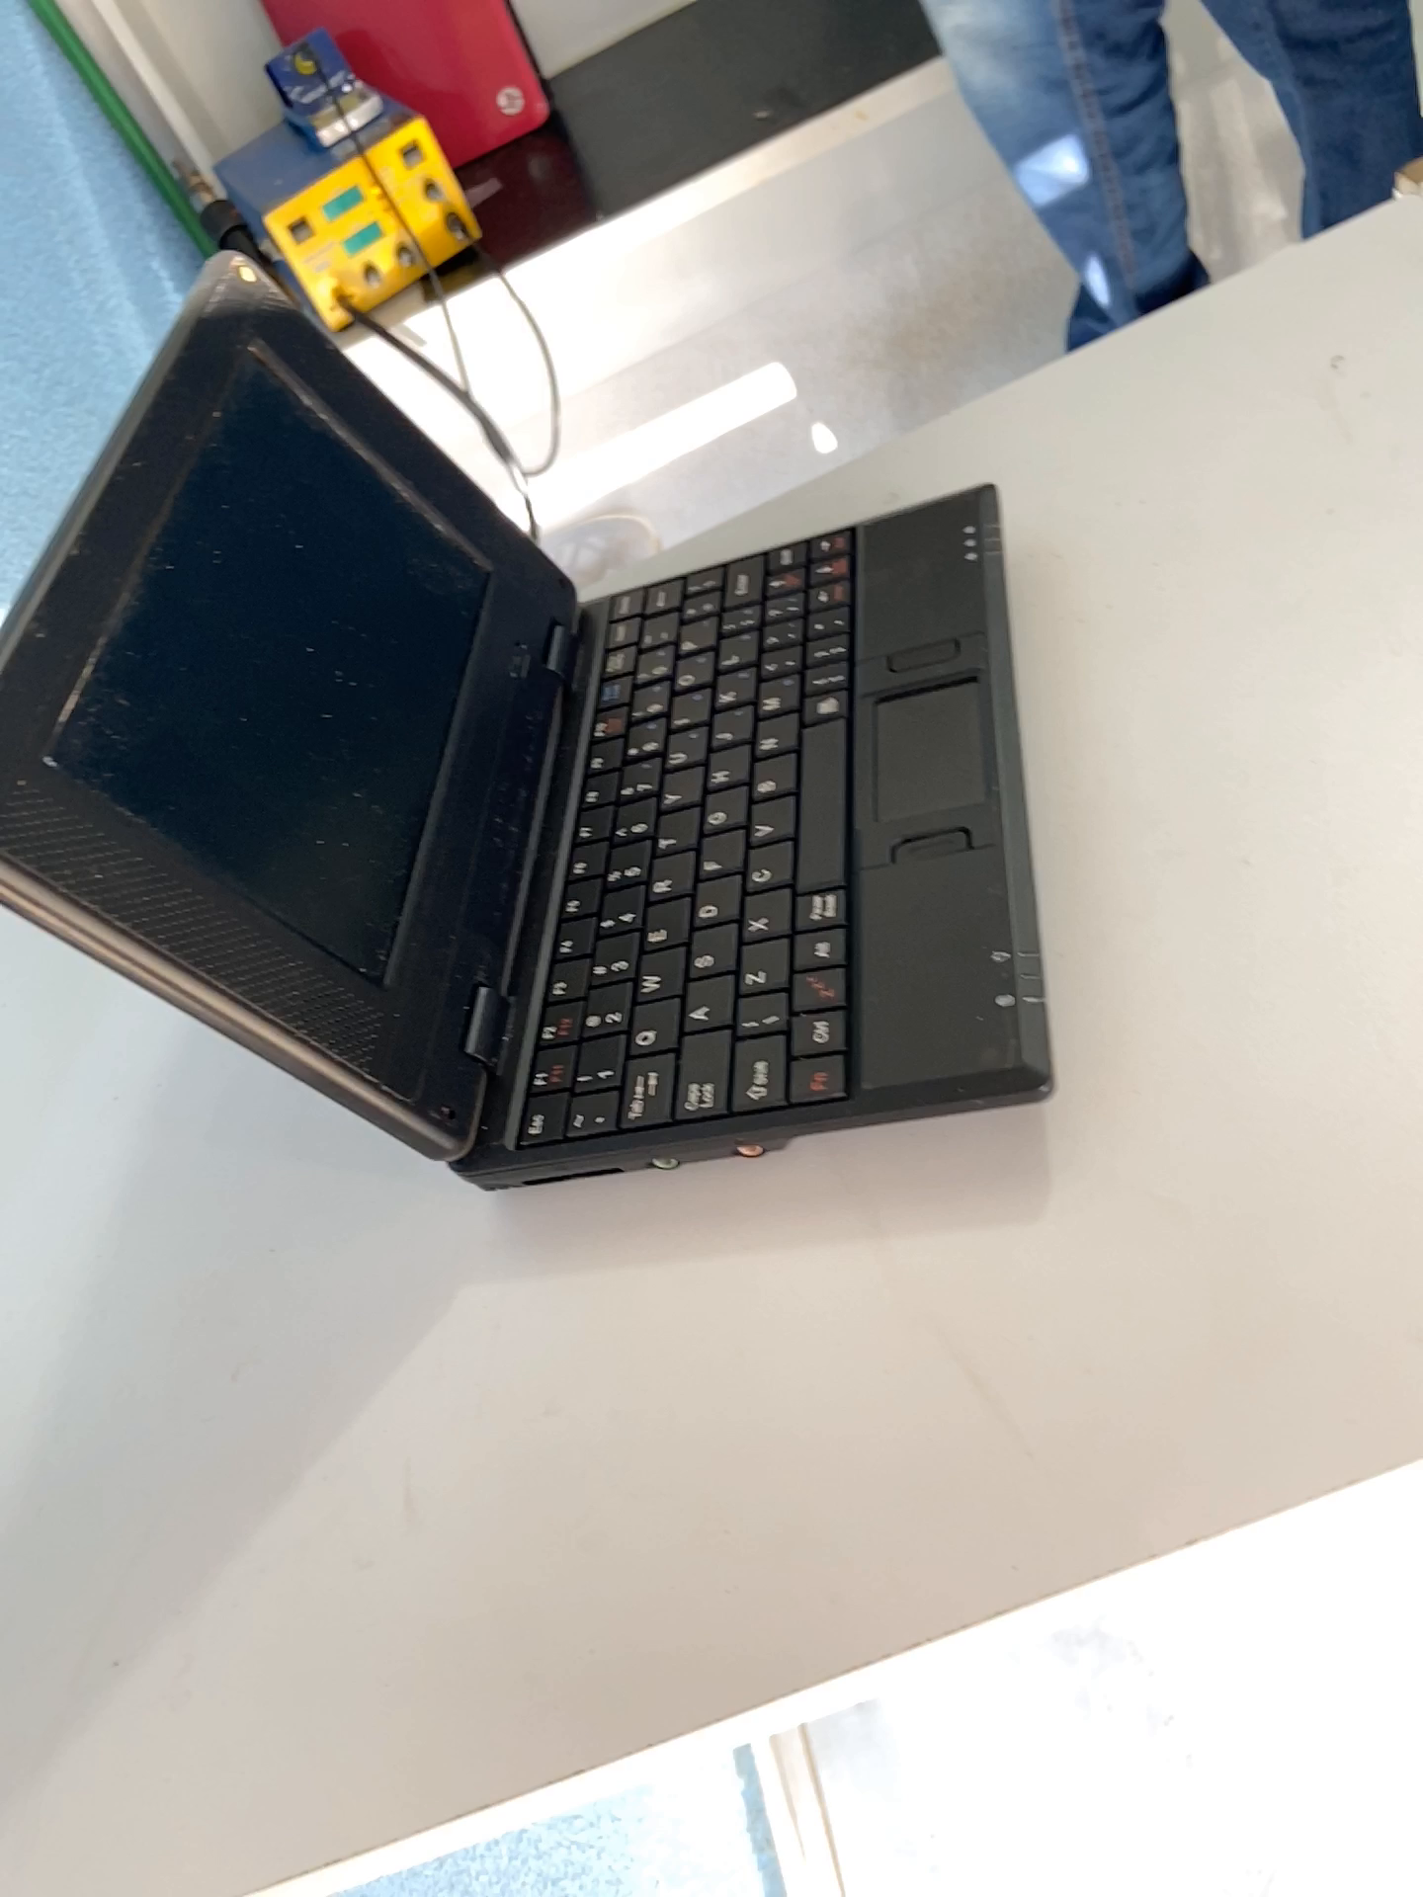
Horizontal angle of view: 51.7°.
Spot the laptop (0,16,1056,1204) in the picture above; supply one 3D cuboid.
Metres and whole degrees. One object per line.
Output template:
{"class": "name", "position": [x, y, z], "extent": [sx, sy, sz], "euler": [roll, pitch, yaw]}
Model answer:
{"class": "laptop", "position": [-0.029, -0.078, 0.353], "extent": [0.179, 0.137, 0.217], "euler": [-11, 48, 19]}
